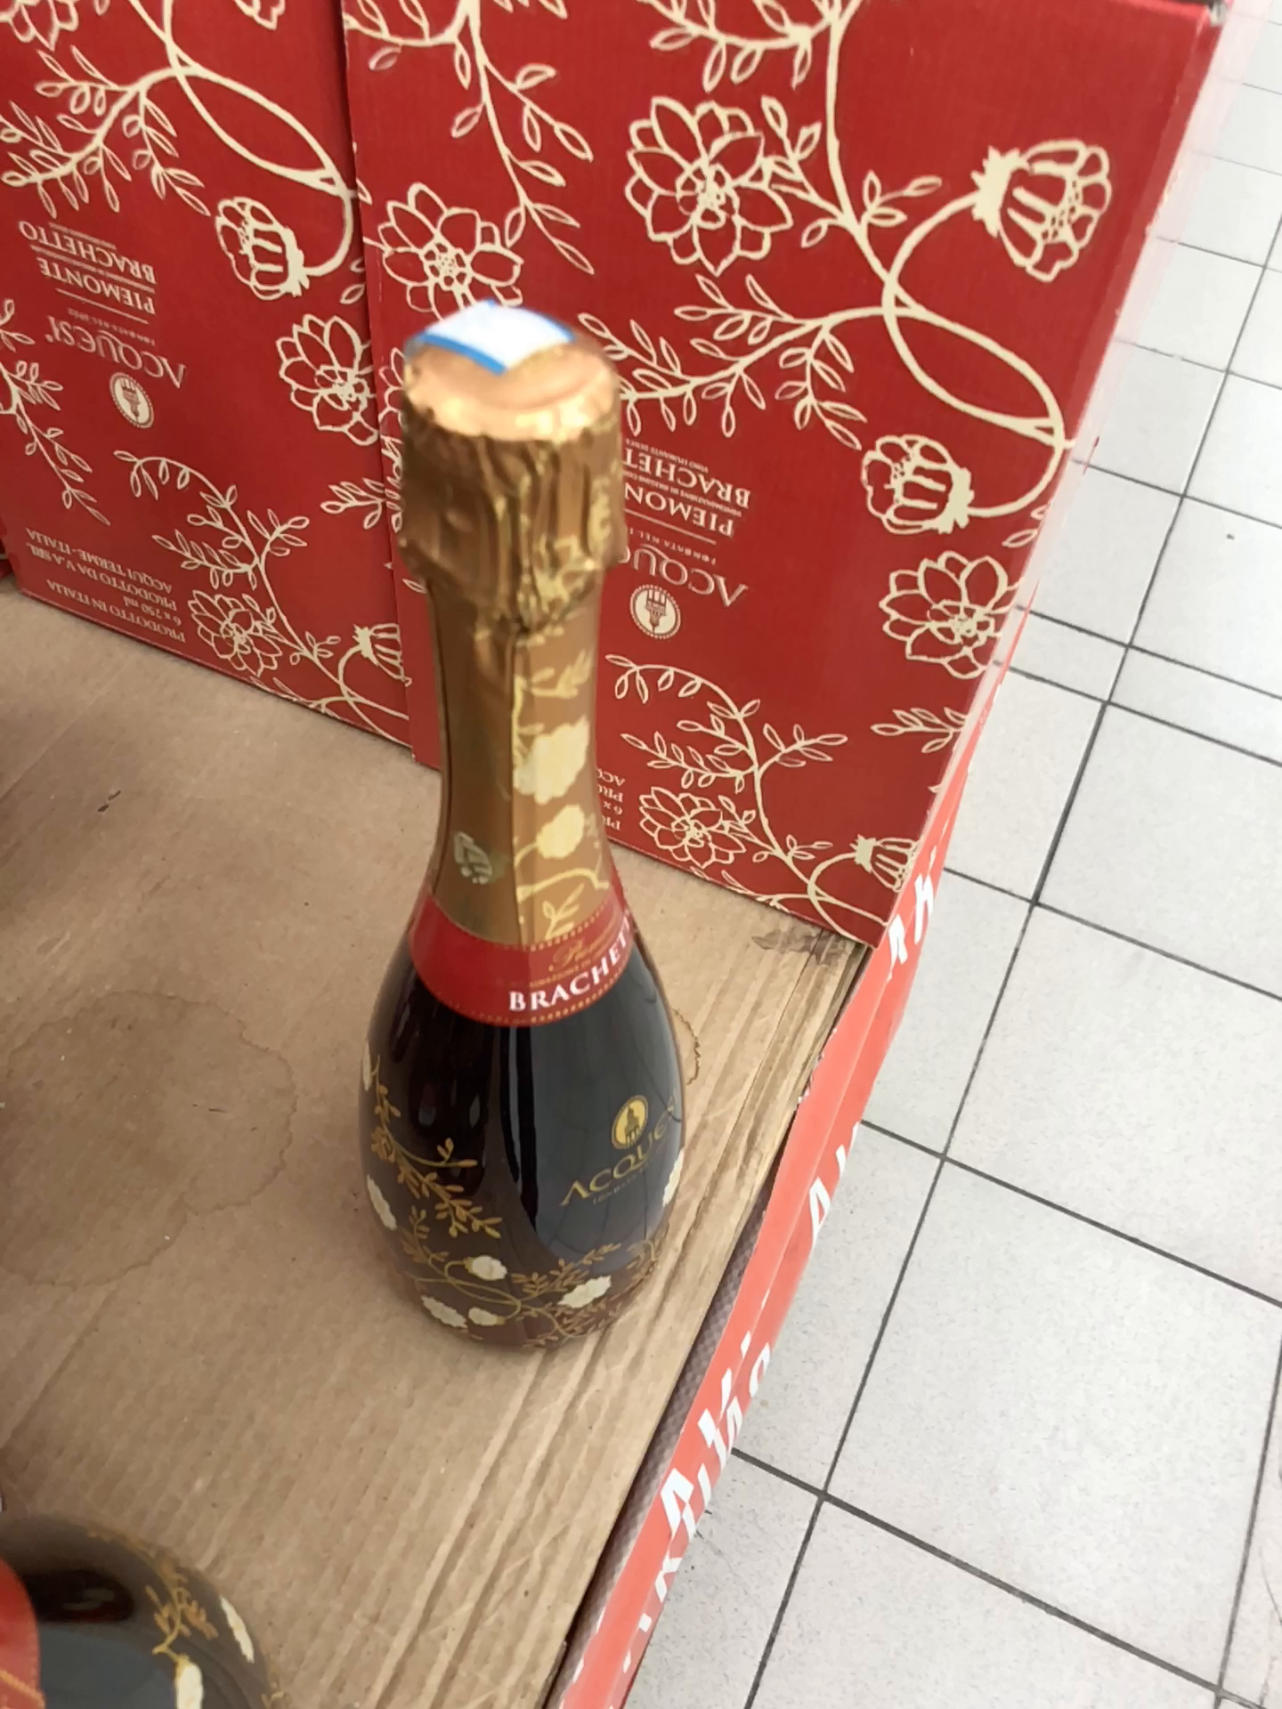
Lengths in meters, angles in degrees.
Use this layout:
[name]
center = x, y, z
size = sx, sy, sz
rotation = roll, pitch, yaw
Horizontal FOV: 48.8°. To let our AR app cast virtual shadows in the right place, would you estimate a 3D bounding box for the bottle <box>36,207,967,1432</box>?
[bottle]
center = -0.028, 0.022, 0.327
size = 0.100, 0.279, 0.100
rotation = 2, 53, -3
